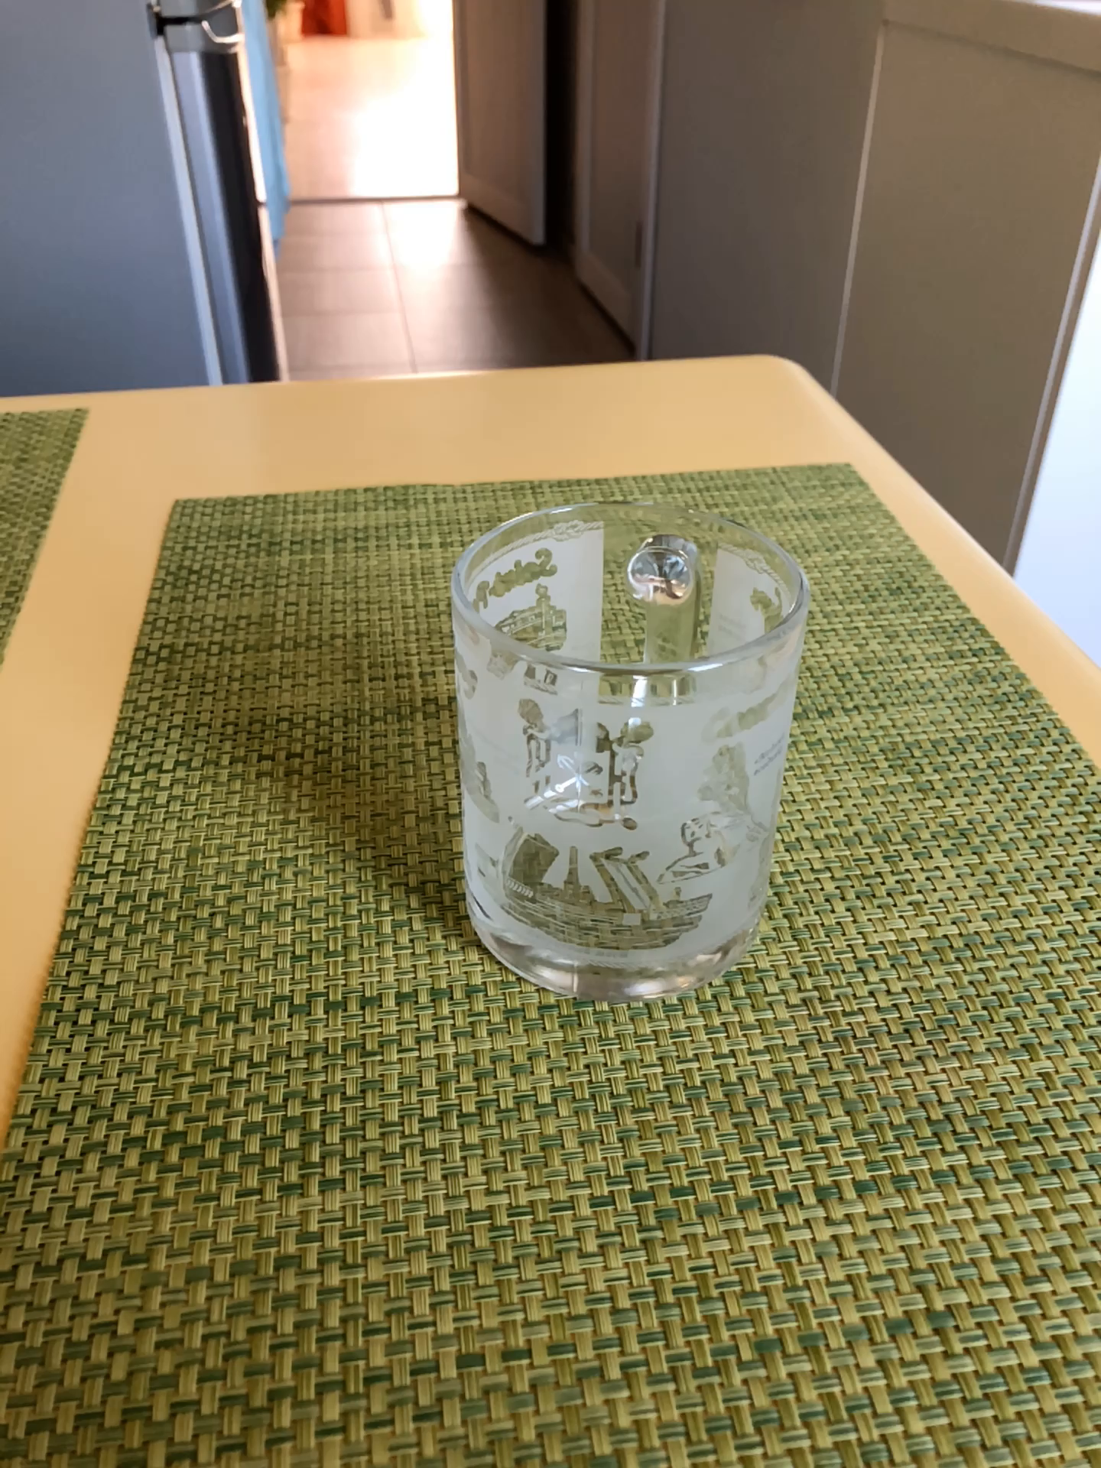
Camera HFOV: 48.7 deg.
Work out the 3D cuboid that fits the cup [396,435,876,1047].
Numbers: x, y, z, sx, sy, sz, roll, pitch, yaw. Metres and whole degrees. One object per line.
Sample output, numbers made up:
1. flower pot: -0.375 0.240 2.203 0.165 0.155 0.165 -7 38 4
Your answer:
1. cup: 0.026 -0.005 0.306 0.087 0.096 0.110 9 35 14
